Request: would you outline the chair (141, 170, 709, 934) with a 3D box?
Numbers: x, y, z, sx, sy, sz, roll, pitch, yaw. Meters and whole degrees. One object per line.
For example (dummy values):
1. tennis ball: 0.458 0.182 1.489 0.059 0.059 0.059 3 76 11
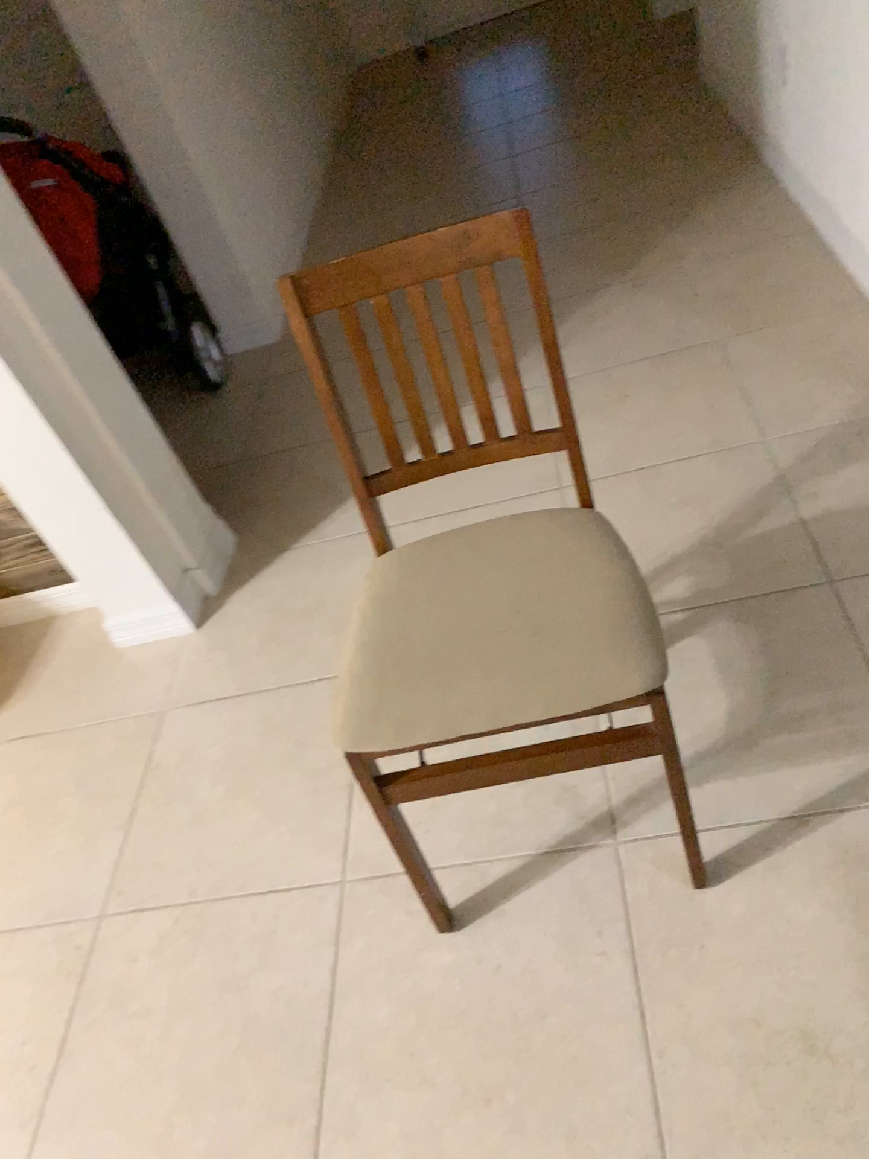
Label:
1. chair: 0.066 0.006 1.307 0.450 0.881 0.596 -13 41 12
